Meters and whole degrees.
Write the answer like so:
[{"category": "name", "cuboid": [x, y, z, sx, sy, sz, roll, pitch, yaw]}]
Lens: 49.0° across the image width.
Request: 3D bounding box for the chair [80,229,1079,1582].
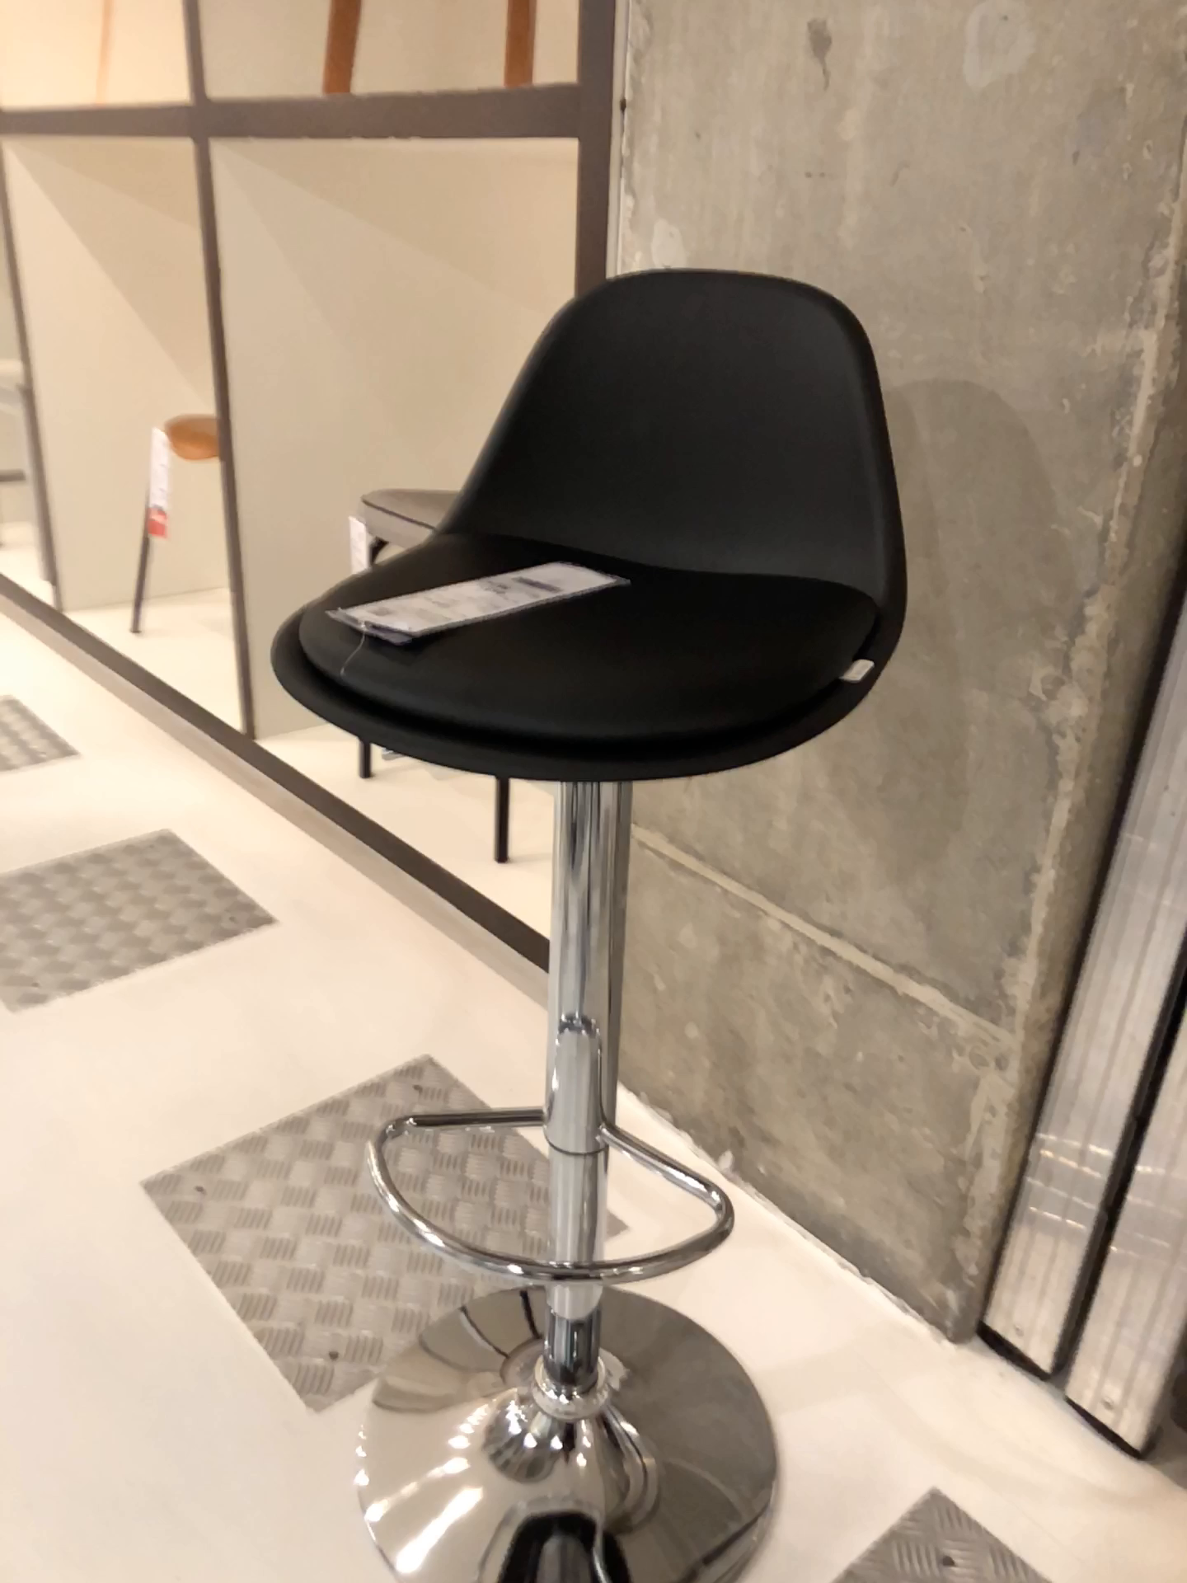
[{"category": "chair", "cuboid": [0.010, 0.135, 0.992, 0.431, 1.013, 0.473, 14, 27, 24]}]
